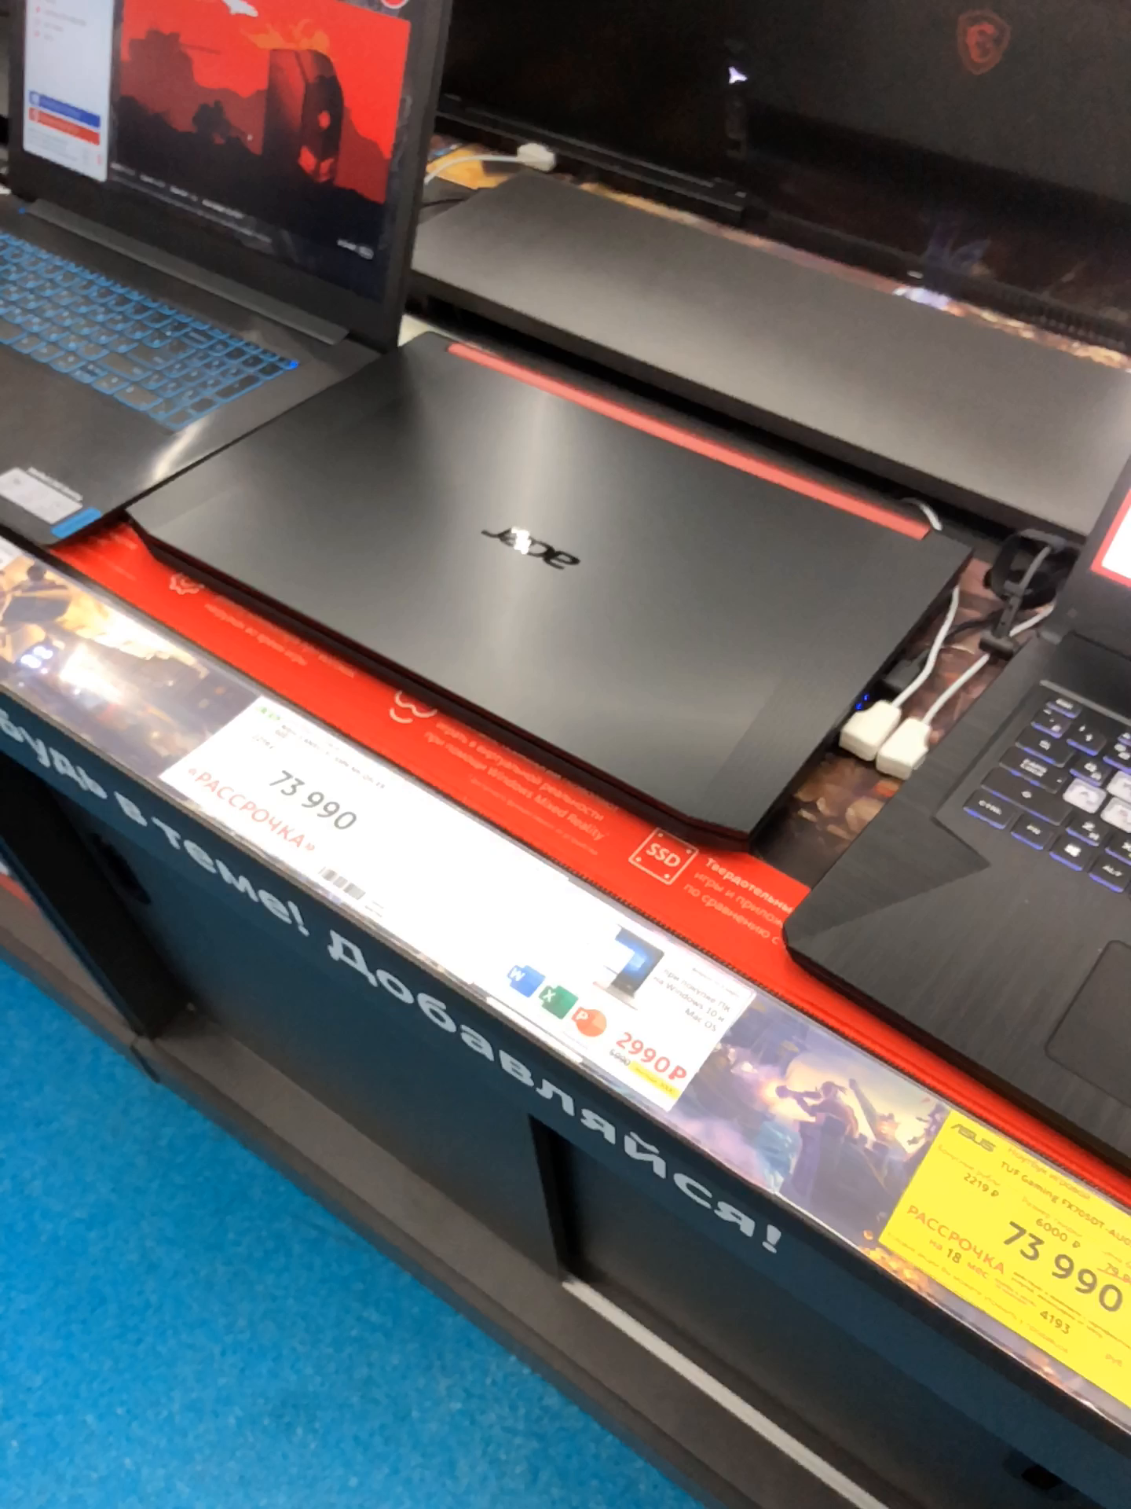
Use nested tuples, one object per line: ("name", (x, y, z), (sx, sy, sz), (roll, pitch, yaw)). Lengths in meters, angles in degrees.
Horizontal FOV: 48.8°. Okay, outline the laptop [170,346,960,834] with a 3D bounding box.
("laptop", (0.003, -0.121, 0.704), (0.370, 0.002, 0.256), (28, 50, 20))
